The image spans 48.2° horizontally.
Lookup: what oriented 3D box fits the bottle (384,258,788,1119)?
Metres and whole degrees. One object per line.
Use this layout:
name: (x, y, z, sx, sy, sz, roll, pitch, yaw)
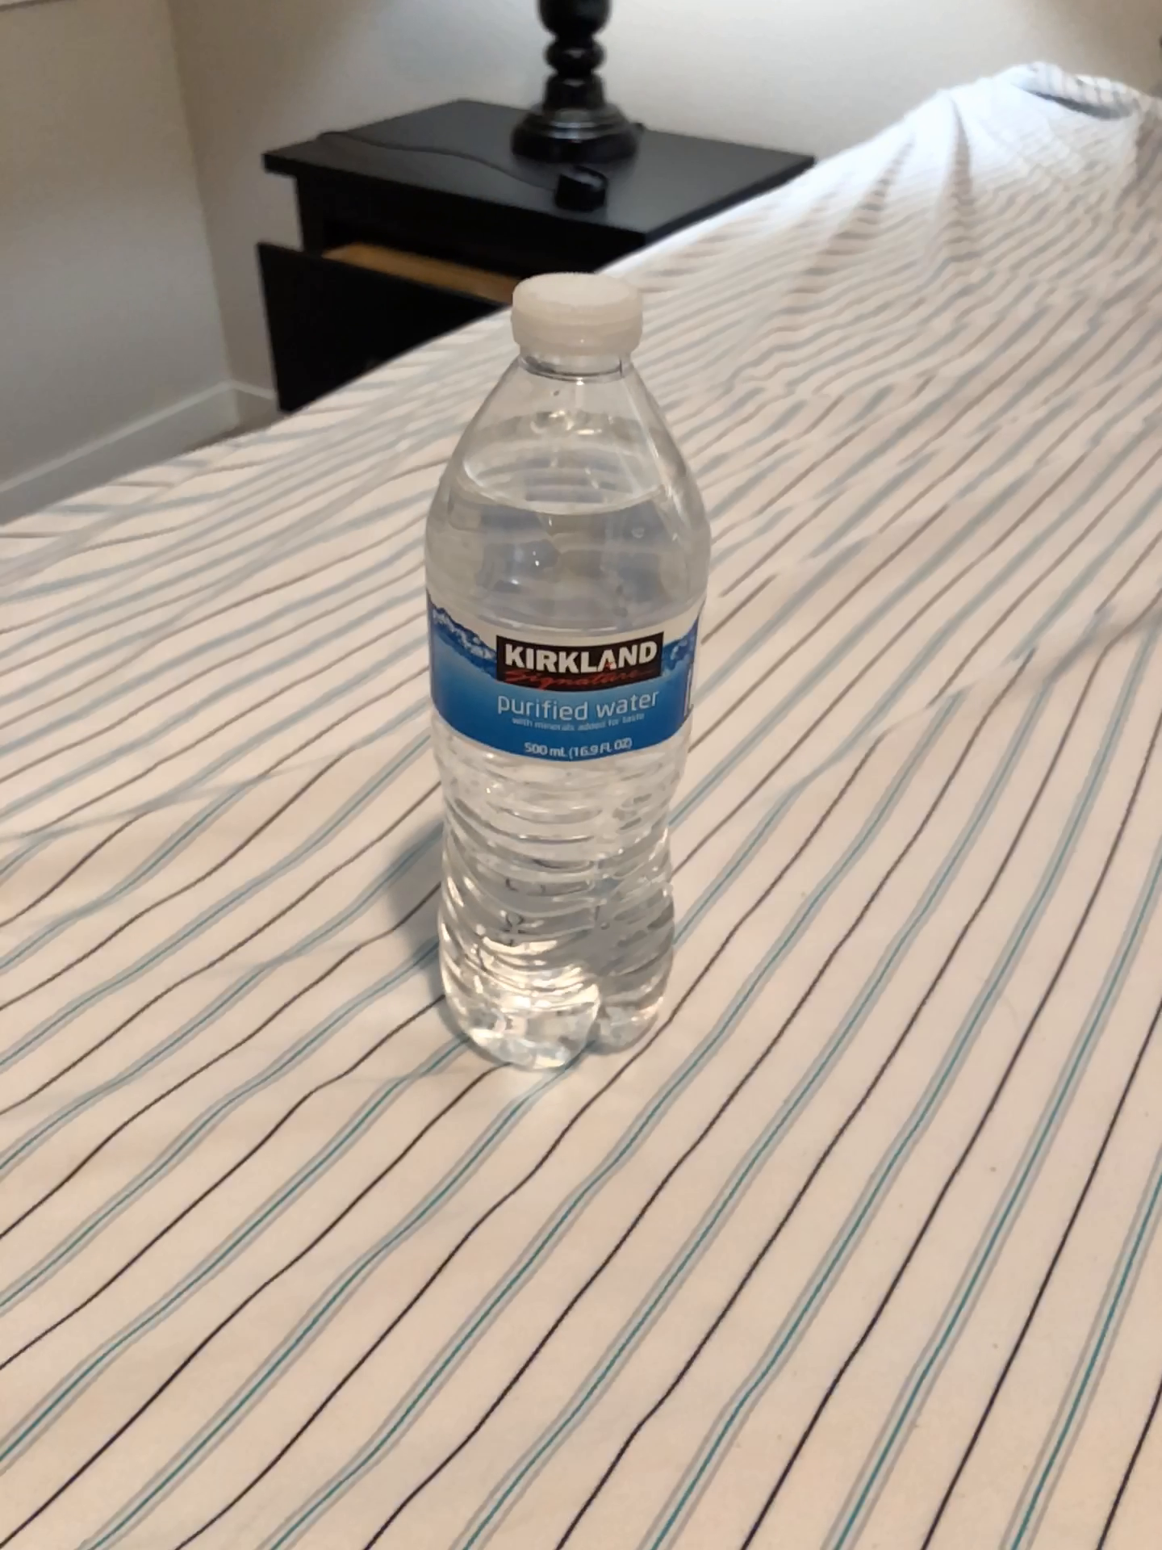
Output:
bottle: (-0.002, -0.011, 0.313, 0.070, 0.199, 0.070, 0, 38, 0)
